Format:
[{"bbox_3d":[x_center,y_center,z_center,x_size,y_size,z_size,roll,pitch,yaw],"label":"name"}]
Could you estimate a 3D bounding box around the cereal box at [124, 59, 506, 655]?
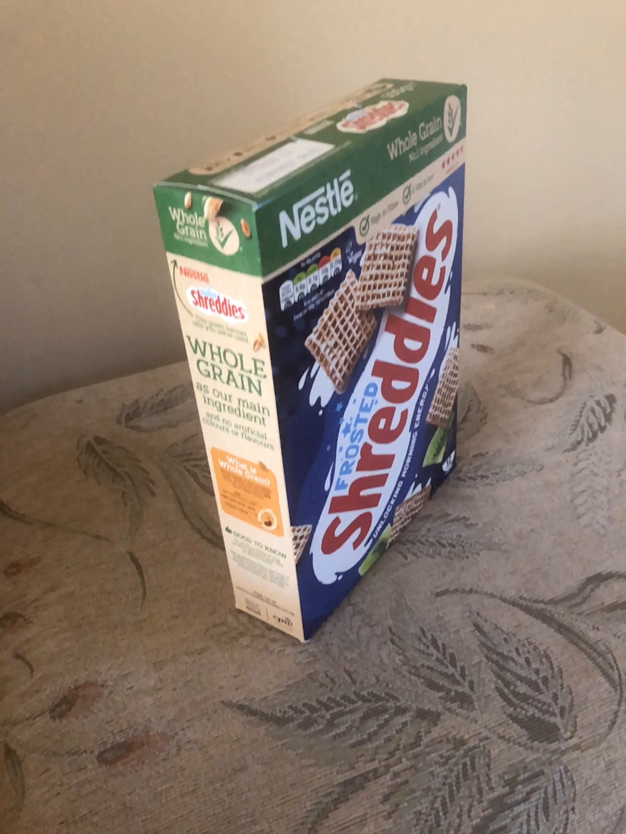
[{"bbox_3d":[0.022,-0.032,0.383,0.060,0.258,0.201,22,45,31],"label":"cereal box"}]
